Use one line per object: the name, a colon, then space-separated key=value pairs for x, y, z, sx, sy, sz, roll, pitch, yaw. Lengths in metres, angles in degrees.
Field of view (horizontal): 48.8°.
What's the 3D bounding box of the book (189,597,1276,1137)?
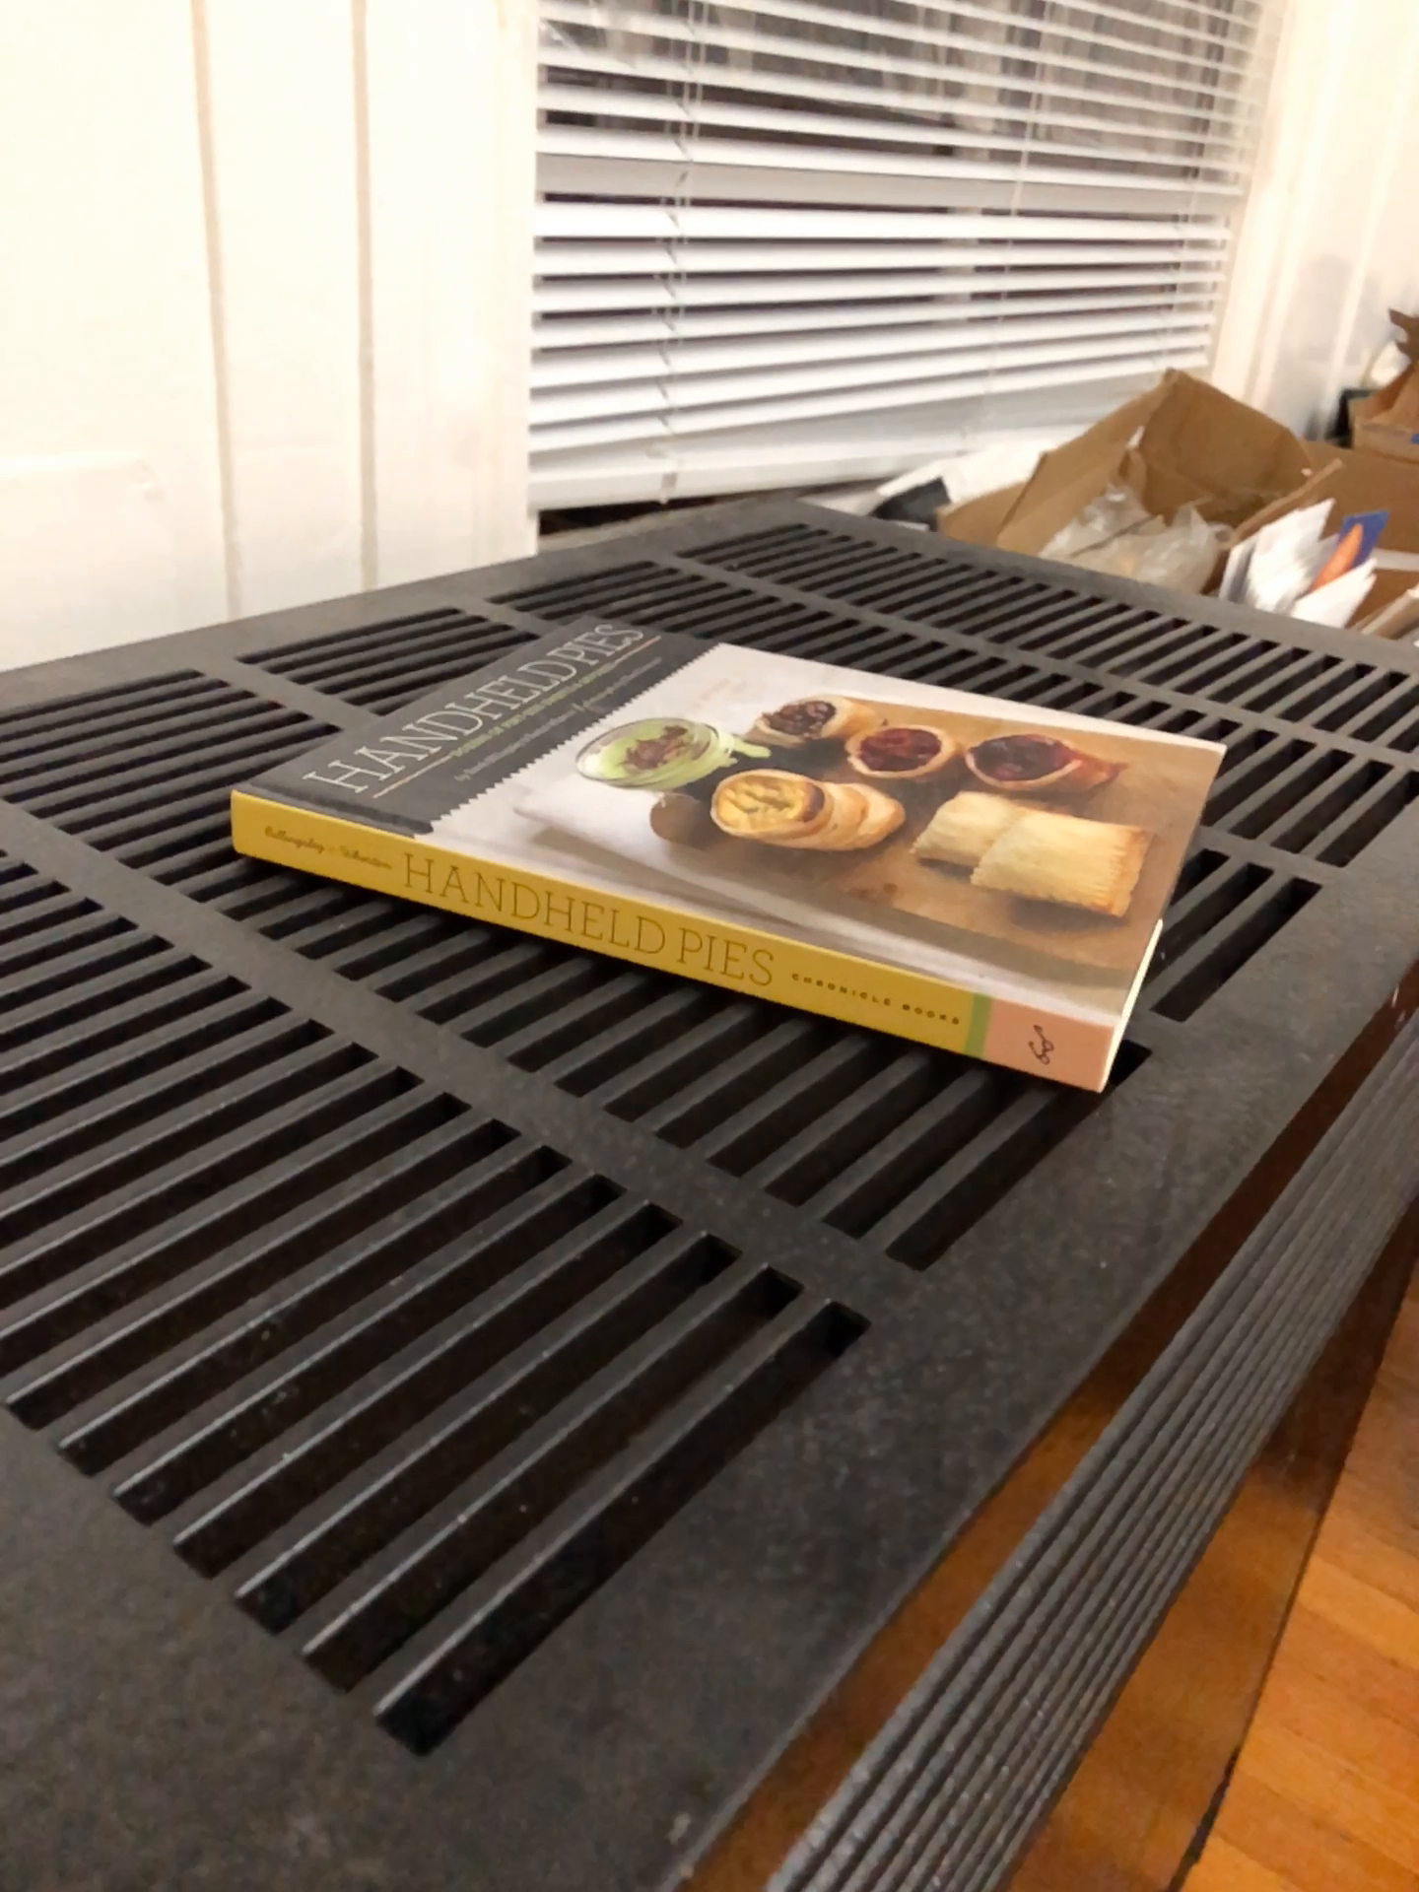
book: x=0.022 y=-0.041 z=0.417 sx=0.230 sy=0.020 sz=0.201 roll=14 pitch=30 yaw=18
